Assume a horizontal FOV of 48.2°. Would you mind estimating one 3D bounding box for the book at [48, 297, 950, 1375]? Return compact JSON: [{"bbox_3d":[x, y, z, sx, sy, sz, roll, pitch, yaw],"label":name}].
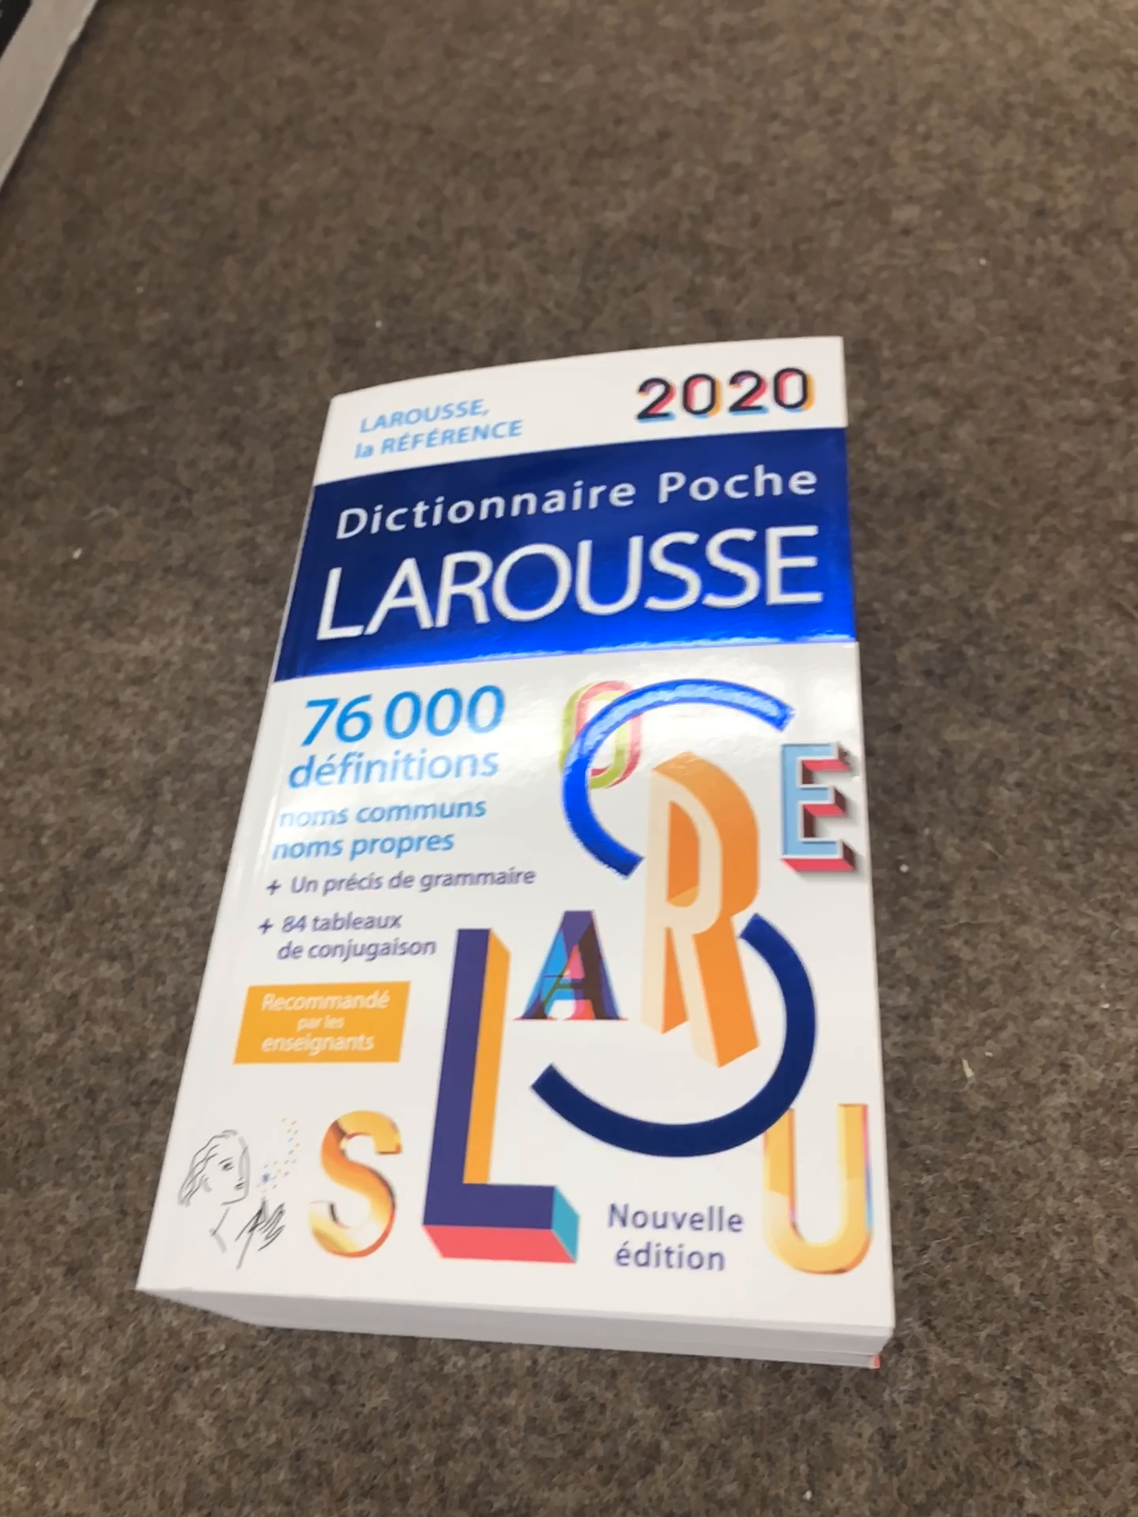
[{"bbox_3d":[-0.003,0.006,0.233,0.116,0.060,0.185,0,60,7],"label":"book"}]
